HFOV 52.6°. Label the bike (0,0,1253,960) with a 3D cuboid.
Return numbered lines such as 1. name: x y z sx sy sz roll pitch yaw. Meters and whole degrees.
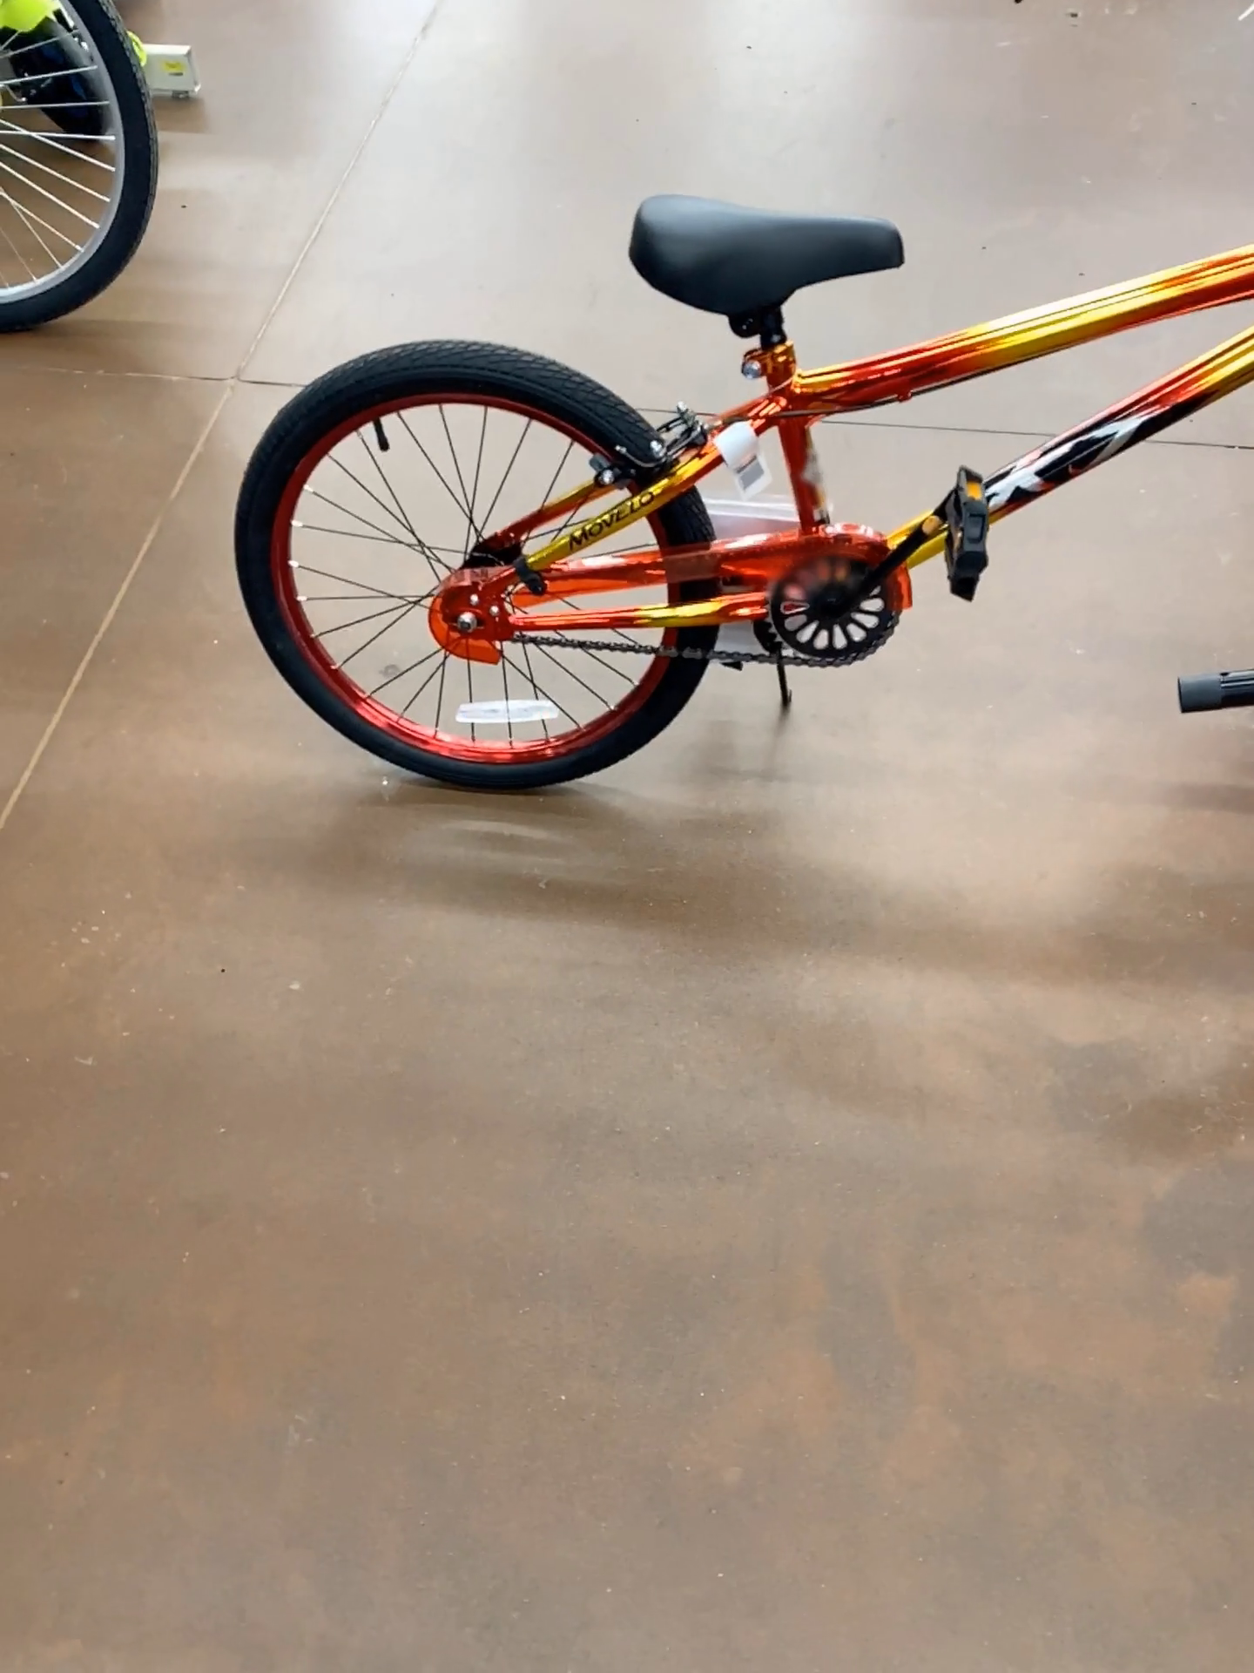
1. bike: 0.193 -0.511 1.135 1.122 0.926 0.706 -4 51 -2
